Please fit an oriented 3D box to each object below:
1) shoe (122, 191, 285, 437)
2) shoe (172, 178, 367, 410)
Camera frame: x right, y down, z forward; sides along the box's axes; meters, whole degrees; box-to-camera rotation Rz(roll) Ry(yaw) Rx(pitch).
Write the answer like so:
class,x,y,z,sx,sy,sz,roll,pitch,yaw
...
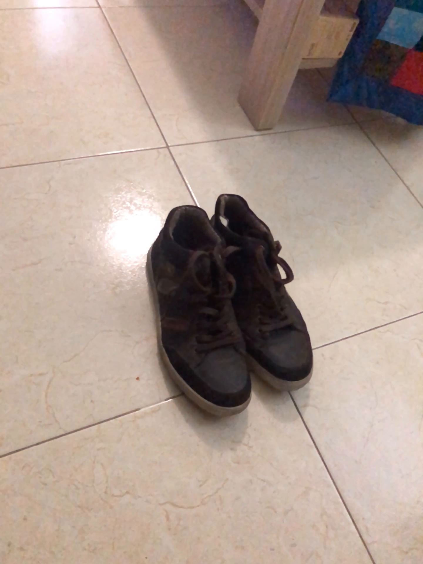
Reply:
class,x,y,z,sx,sy,sz,roll,pitch,yaw
shoe,-0.027,0.031,0.634,0.120,0.110,0.300,-9,60,-19
shoe,0.066,0.007,0.675,0.120,0.110,0.300,-18,64,-24
